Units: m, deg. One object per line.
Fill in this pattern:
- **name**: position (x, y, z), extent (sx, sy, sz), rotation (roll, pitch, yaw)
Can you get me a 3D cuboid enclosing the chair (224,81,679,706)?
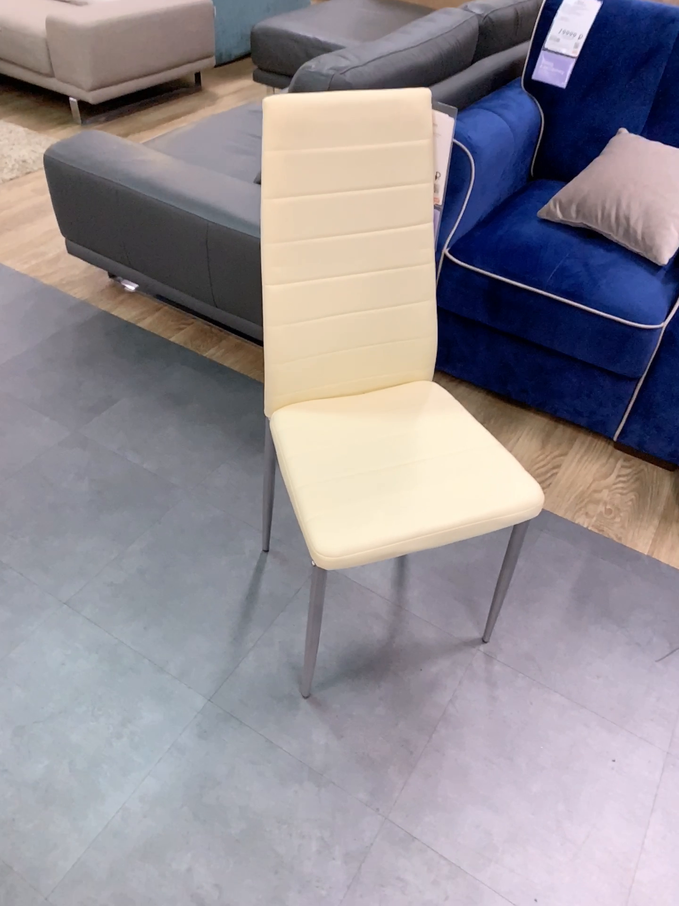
- **chair**: position (0.095, -0.061, 1.227), extent (0.446, 0.940, 0.479), rotation (-11, 45, -16)
